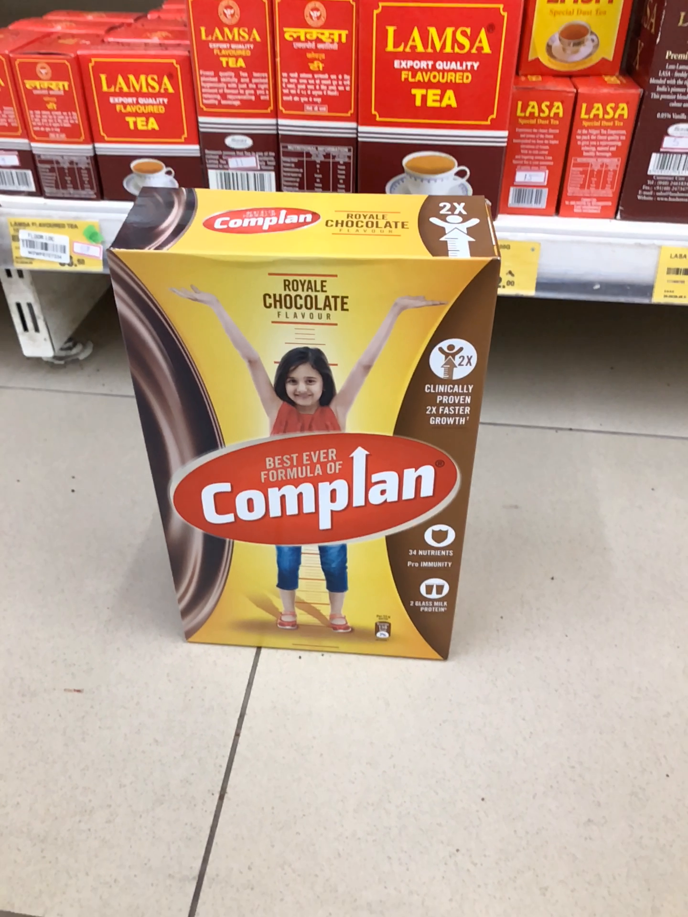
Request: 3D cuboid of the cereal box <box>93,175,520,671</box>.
[{"bbox_3d":[-0.013,-0.004,0.388,0.160,0.248,0.071,3,38,4],"label":"cereal box"}]
